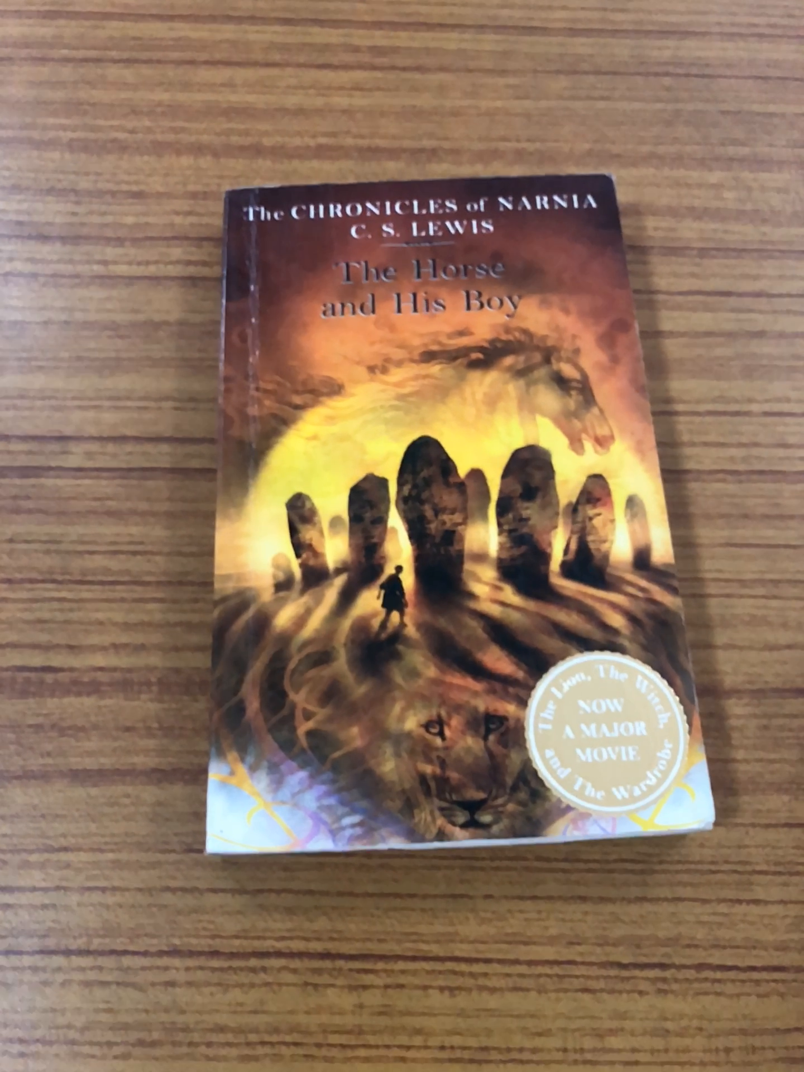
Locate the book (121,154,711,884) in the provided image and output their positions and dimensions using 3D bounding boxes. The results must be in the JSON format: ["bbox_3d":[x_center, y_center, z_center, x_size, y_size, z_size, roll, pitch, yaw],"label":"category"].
[{"bbox_3d":[-0.001,-0.013,0.224,0.120,0.020,0.180,-2,70,-2],"label":"book"}]
